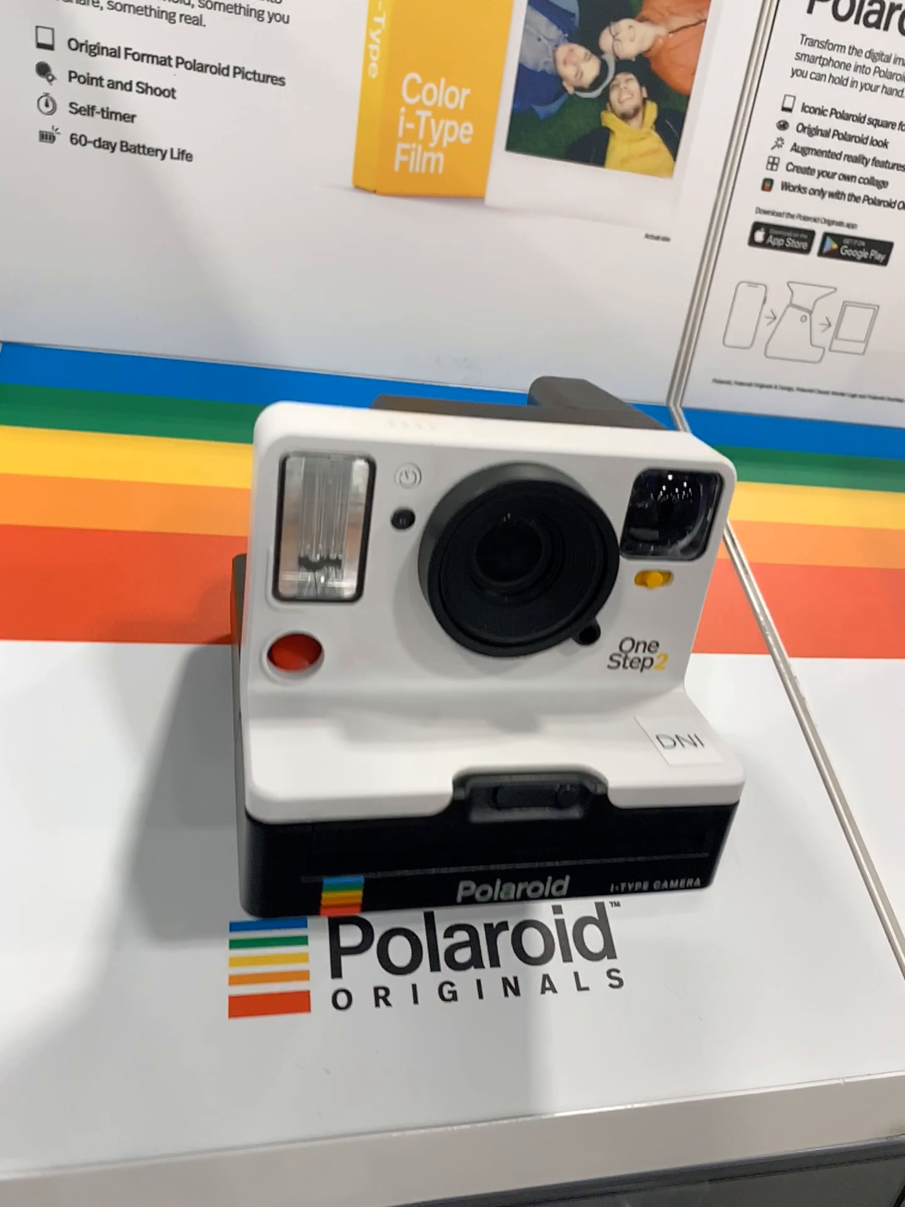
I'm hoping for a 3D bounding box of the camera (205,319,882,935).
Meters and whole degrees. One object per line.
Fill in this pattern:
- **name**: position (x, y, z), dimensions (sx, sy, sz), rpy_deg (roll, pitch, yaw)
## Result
- **camera**: position (0.000, -0.007, 0.243), dimensions (0.120, 0.090, 0.145), rpy_deg (2, 26, -16)
